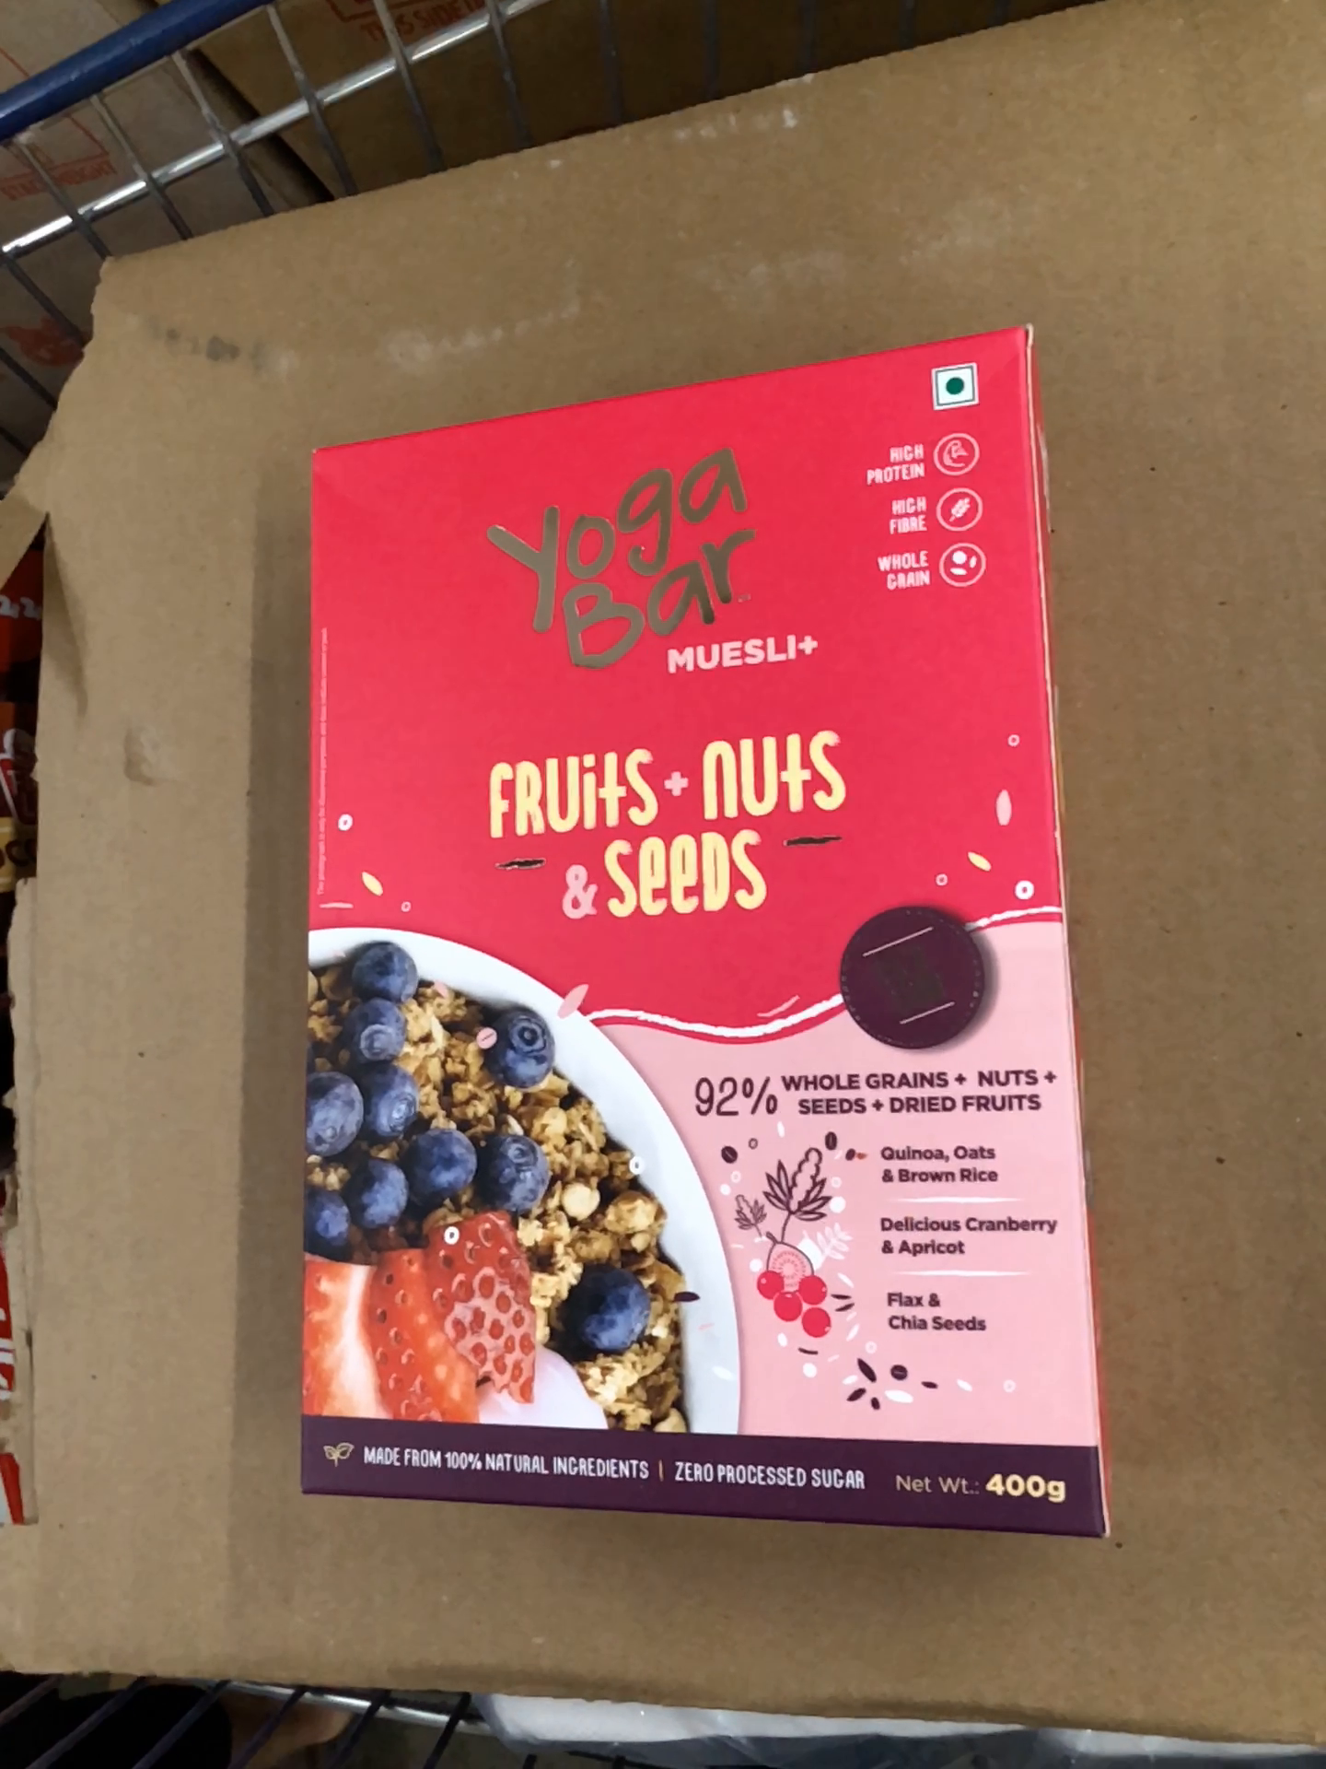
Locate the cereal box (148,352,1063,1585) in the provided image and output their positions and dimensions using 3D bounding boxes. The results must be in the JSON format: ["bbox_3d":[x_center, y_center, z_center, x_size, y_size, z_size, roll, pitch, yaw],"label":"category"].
[{"bbox_3d":[-0.012,0.017,0.301,0.170,0.060,0.210,-3,83,16],"label":"cereal box"}]
